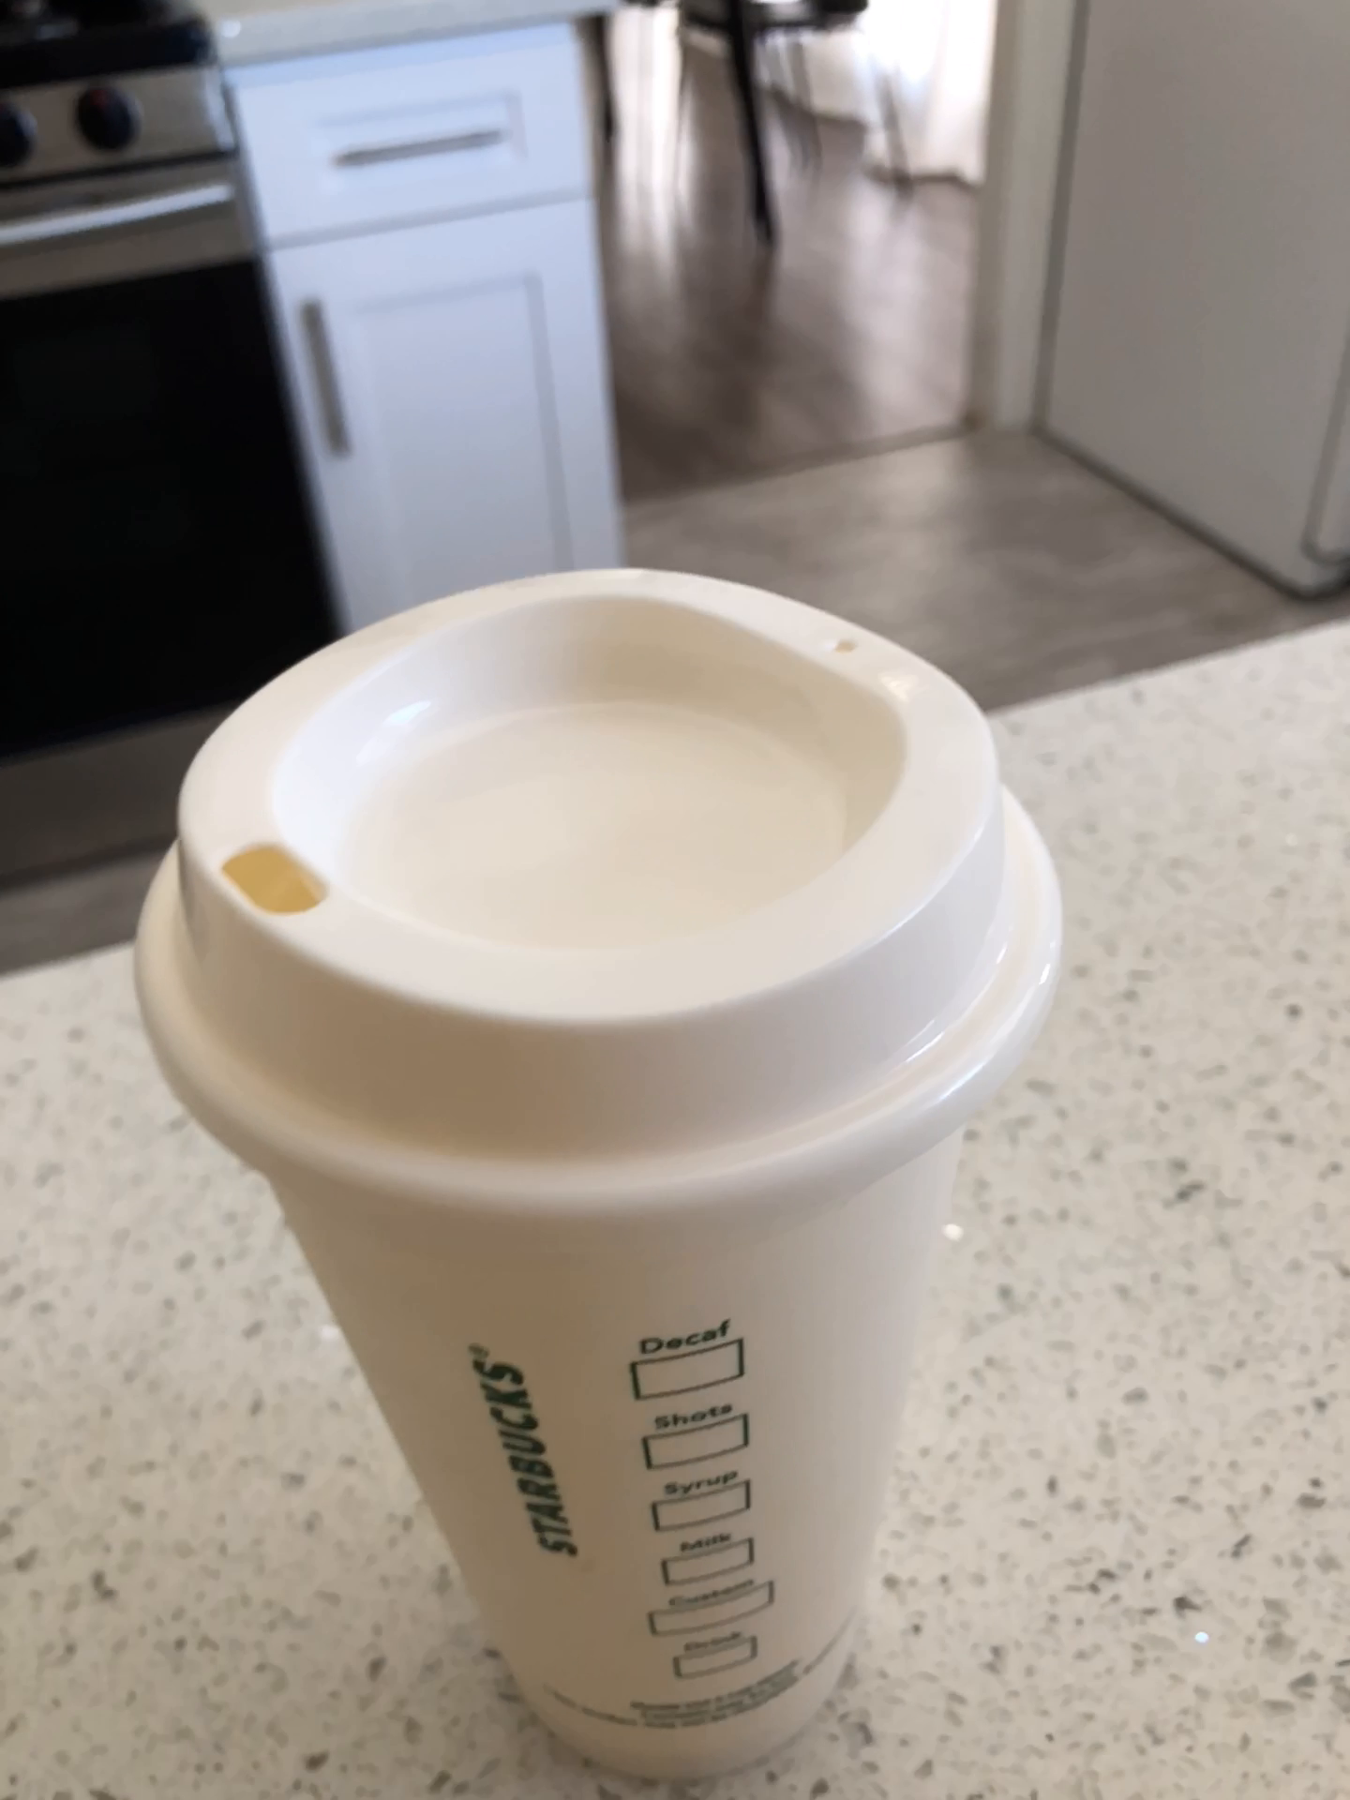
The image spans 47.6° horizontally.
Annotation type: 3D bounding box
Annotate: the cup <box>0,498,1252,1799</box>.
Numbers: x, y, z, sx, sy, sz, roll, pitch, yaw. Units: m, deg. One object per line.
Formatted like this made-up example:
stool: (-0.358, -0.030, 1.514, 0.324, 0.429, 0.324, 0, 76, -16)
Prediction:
cup: (-0.008, 0.042, 0.184, 0.090, 0.139, 0.090, -3, 38, 2)
